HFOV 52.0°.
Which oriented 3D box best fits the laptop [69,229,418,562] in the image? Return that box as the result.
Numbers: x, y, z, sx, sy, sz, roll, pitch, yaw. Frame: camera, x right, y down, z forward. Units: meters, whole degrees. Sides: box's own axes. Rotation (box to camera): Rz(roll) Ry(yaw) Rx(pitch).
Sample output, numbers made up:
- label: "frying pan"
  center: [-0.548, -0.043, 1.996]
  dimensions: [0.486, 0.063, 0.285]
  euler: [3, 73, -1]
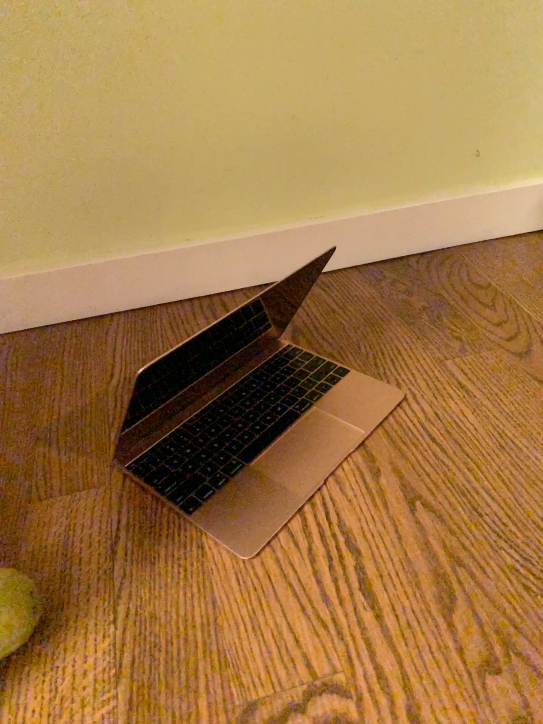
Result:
- label: "laptop"
  center: [-0.013, 0.008, 0.598]
  dimensions: [0.206, 0.168, 0.289]
  euler: [23, 45, 33]
